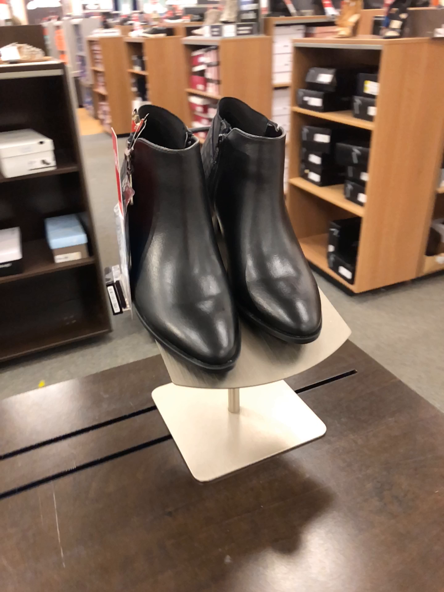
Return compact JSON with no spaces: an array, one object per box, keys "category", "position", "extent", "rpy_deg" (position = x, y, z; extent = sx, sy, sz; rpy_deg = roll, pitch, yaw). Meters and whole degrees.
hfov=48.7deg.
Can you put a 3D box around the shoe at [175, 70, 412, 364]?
[{"category":"shoe","position":[0.041,-0.085,0.458],"extent":[0.105,0.131,0.244],"rpy_deg":[-11,52,-16]}]

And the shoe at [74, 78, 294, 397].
[{"category":"shoe","position":[-0.048,-0.063,0.425],"extent":[0.105,0.131,0.244],"rpy_deg":[-11,52,-16]}]
